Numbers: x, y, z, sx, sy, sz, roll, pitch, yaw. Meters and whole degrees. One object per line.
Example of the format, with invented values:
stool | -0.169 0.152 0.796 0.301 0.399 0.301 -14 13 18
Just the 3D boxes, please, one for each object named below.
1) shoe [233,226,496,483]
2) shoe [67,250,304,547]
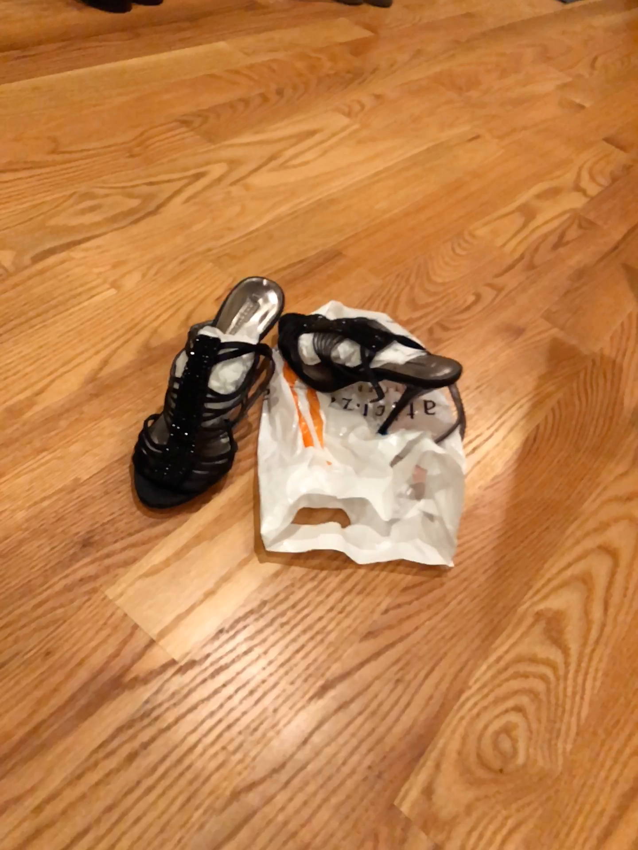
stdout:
shoe | 0.034 -0.071 0.664 0.217 0.112 0.092 41 49 20
shoe | -0.104 -0.031 0.582 0.090 0.112 0.218 24 45 4
